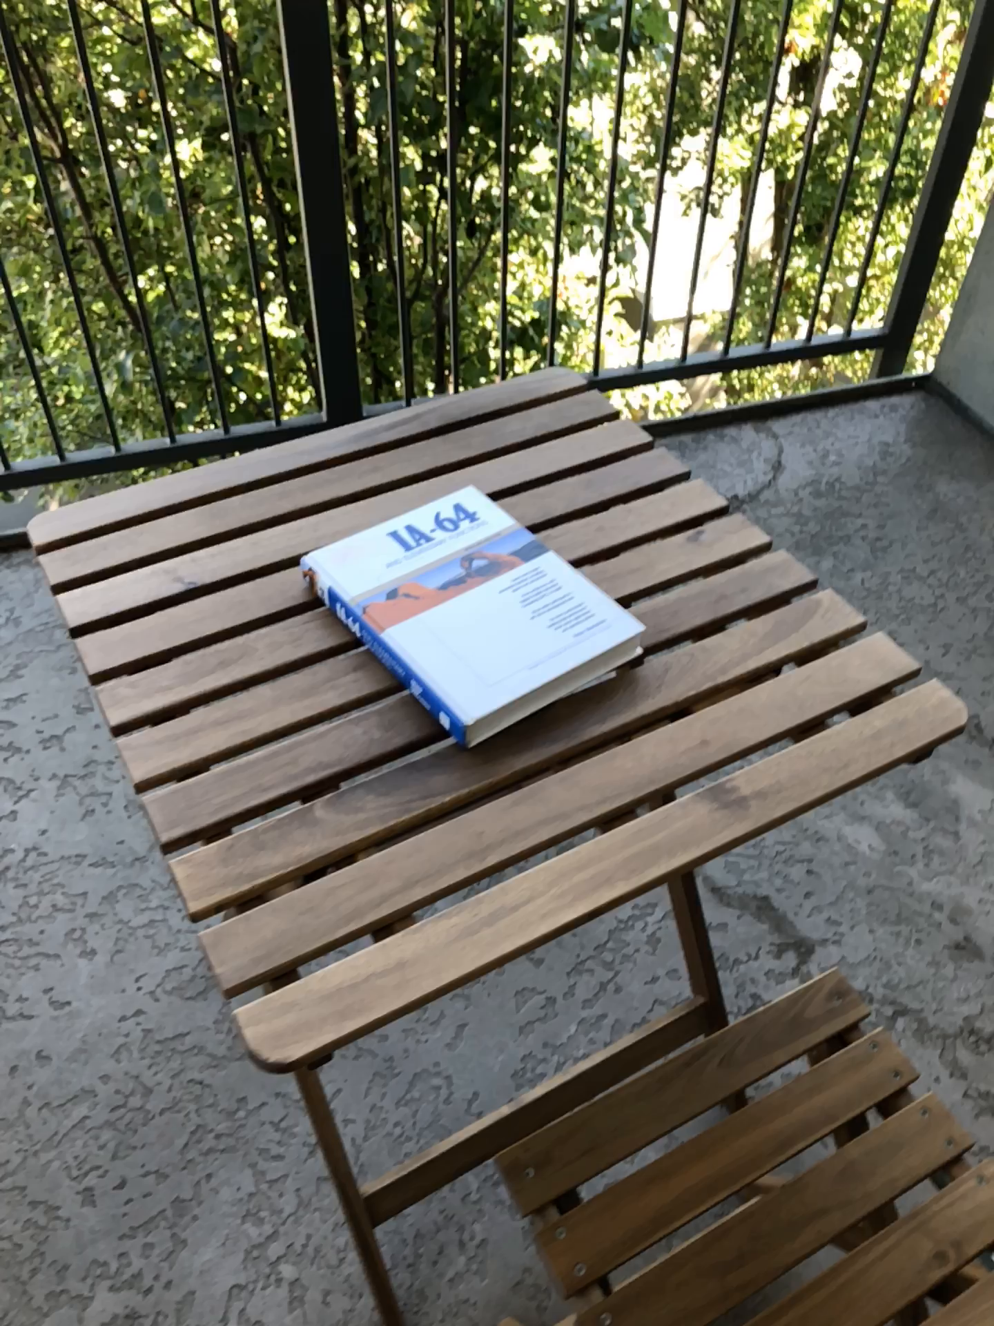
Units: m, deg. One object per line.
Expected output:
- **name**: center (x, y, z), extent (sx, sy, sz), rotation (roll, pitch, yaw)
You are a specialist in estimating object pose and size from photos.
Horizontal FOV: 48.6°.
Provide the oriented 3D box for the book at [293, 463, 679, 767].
- **book**: center (-0.014, -0.052, 0.894), extent (0.200, 0.040, 0.251), rotation (-27, 51, -25)
